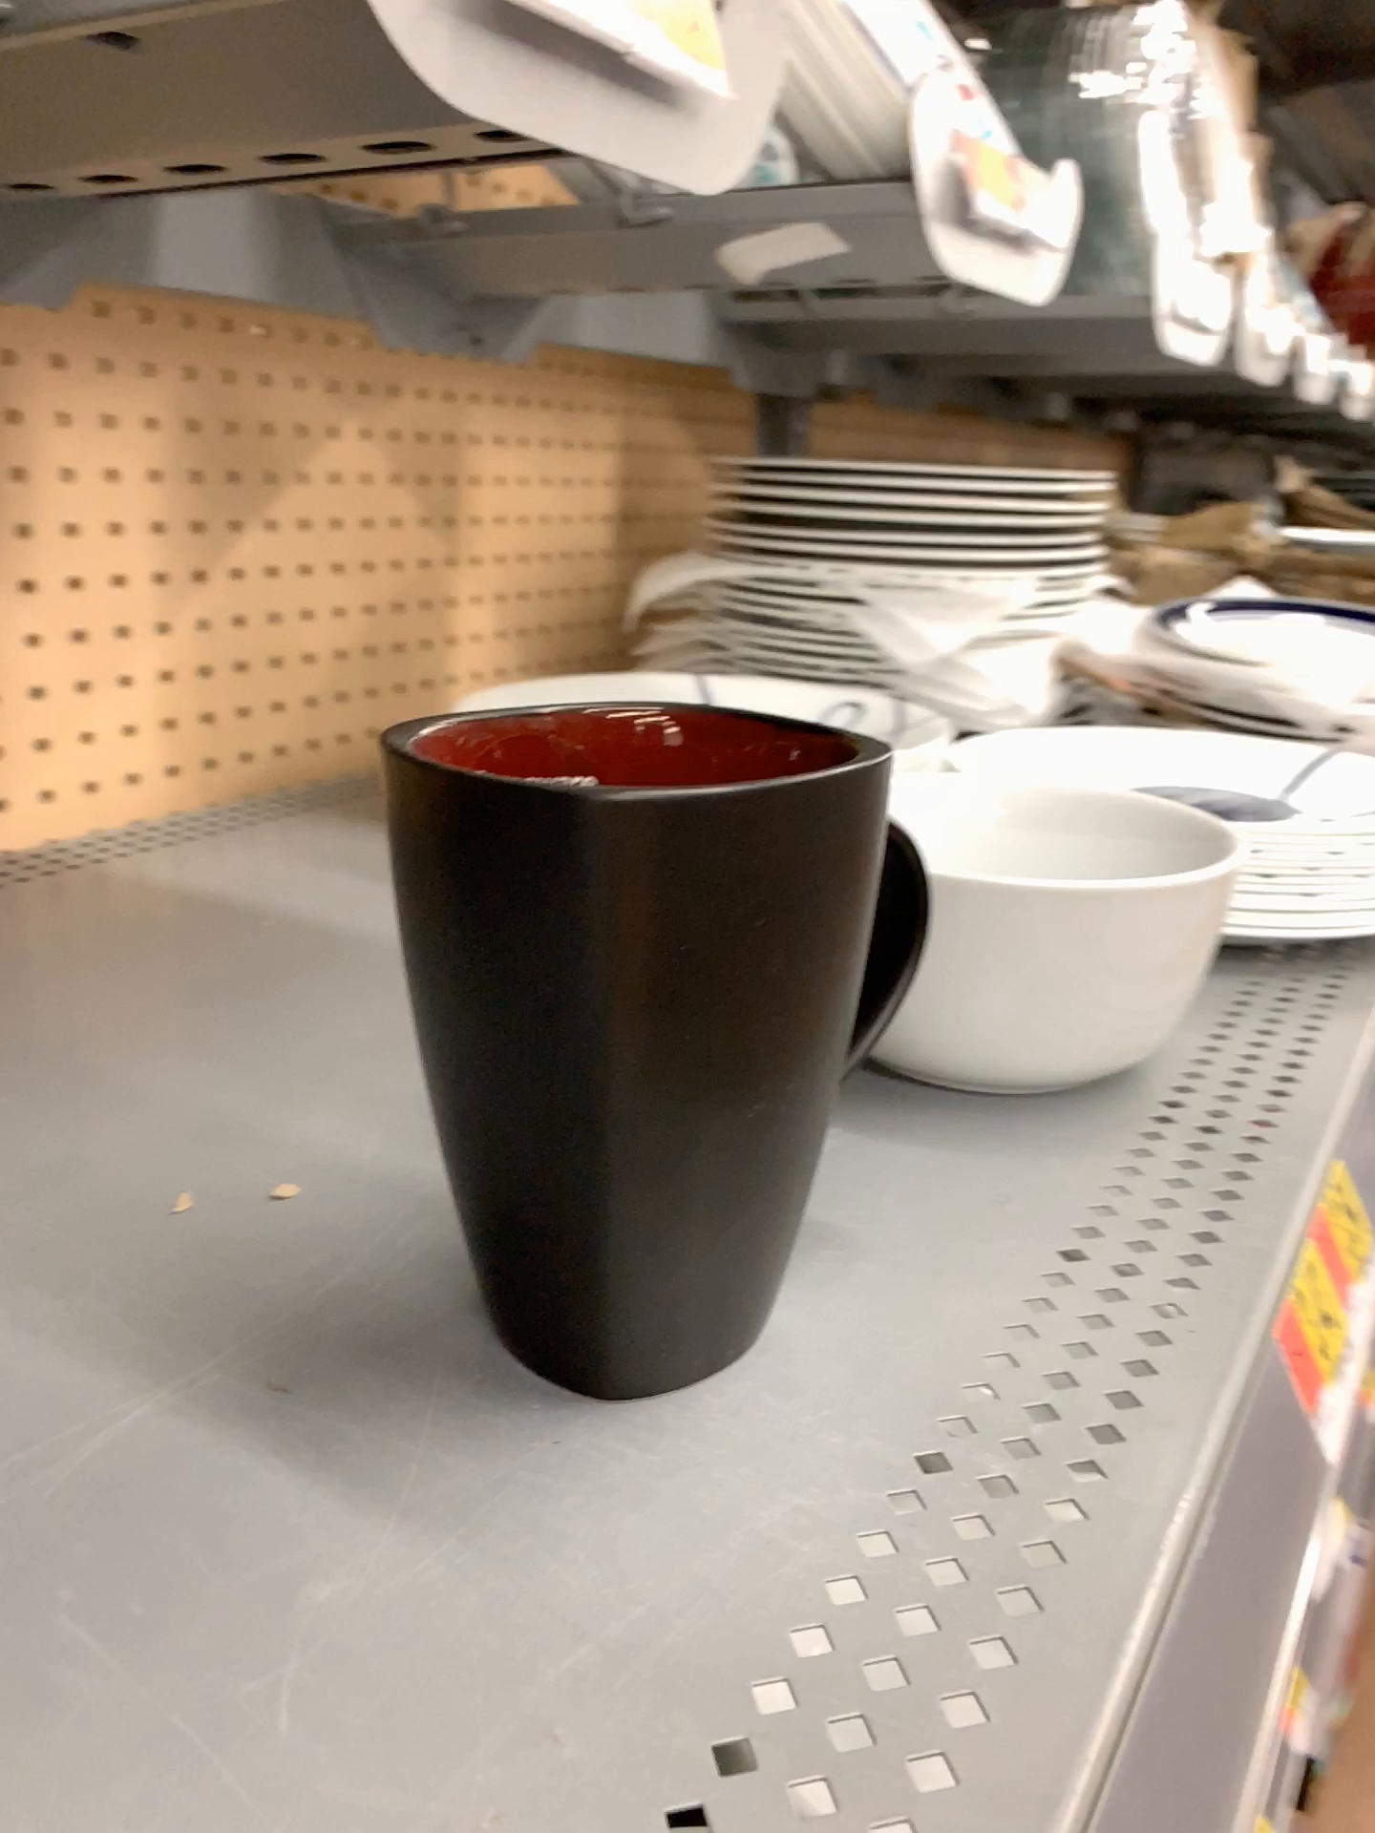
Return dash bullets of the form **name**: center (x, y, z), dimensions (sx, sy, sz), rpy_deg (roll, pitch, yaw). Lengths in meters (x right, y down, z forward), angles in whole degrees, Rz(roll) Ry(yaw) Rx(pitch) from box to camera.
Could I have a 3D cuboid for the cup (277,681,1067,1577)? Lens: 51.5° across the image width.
- **cup**: center (0.000, 0.027, 0.298), dimensions (0.090, 0.129, 0.130), rpy_deg (17, 23, 40)
